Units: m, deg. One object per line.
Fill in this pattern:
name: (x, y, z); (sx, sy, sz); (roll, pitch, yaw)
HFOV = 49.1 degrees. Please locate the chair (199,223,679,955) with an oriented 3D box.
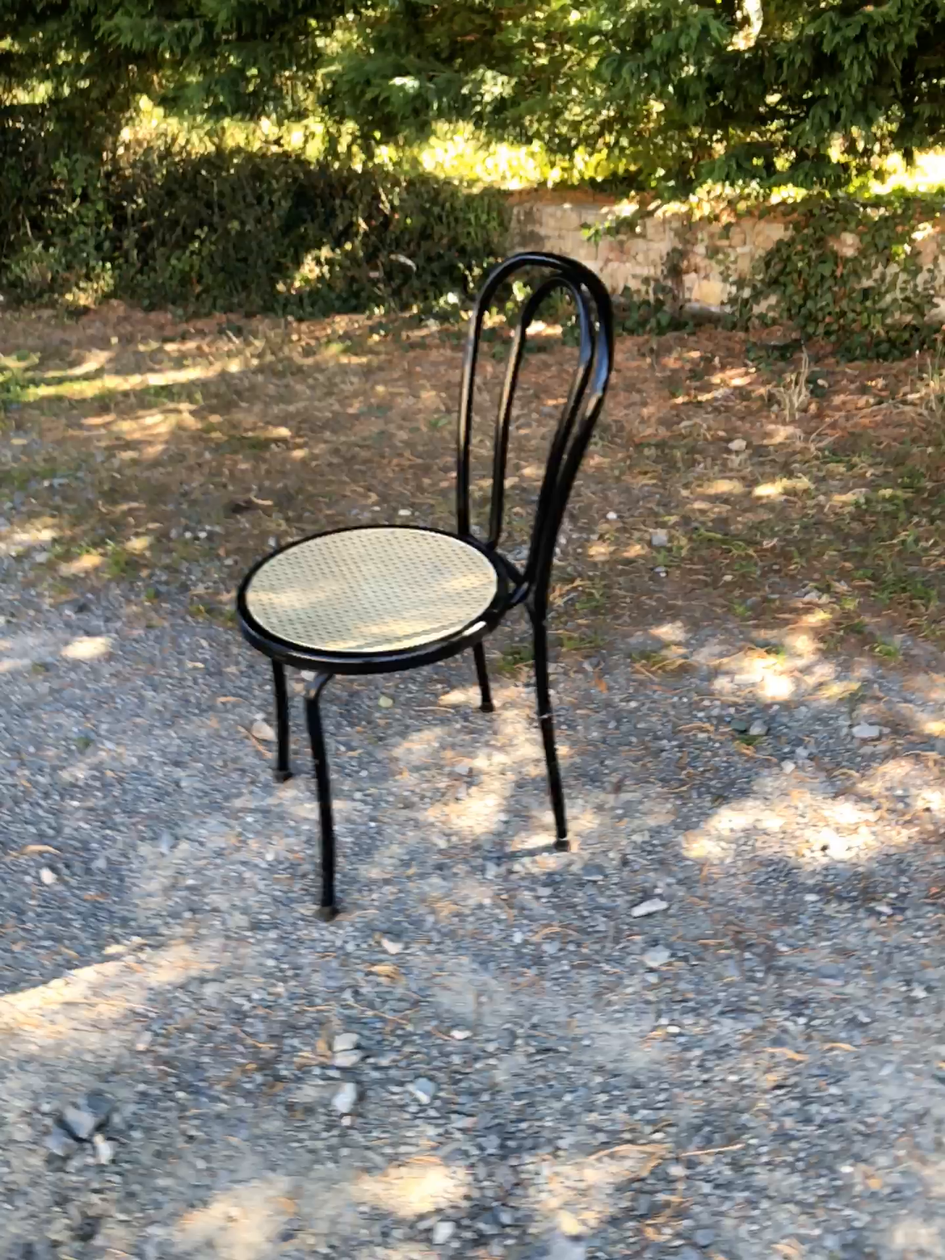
chair: (-0.063, -0.068, 1.476); (0.471, 0.875, 0.432); (-11, 32, -18)
